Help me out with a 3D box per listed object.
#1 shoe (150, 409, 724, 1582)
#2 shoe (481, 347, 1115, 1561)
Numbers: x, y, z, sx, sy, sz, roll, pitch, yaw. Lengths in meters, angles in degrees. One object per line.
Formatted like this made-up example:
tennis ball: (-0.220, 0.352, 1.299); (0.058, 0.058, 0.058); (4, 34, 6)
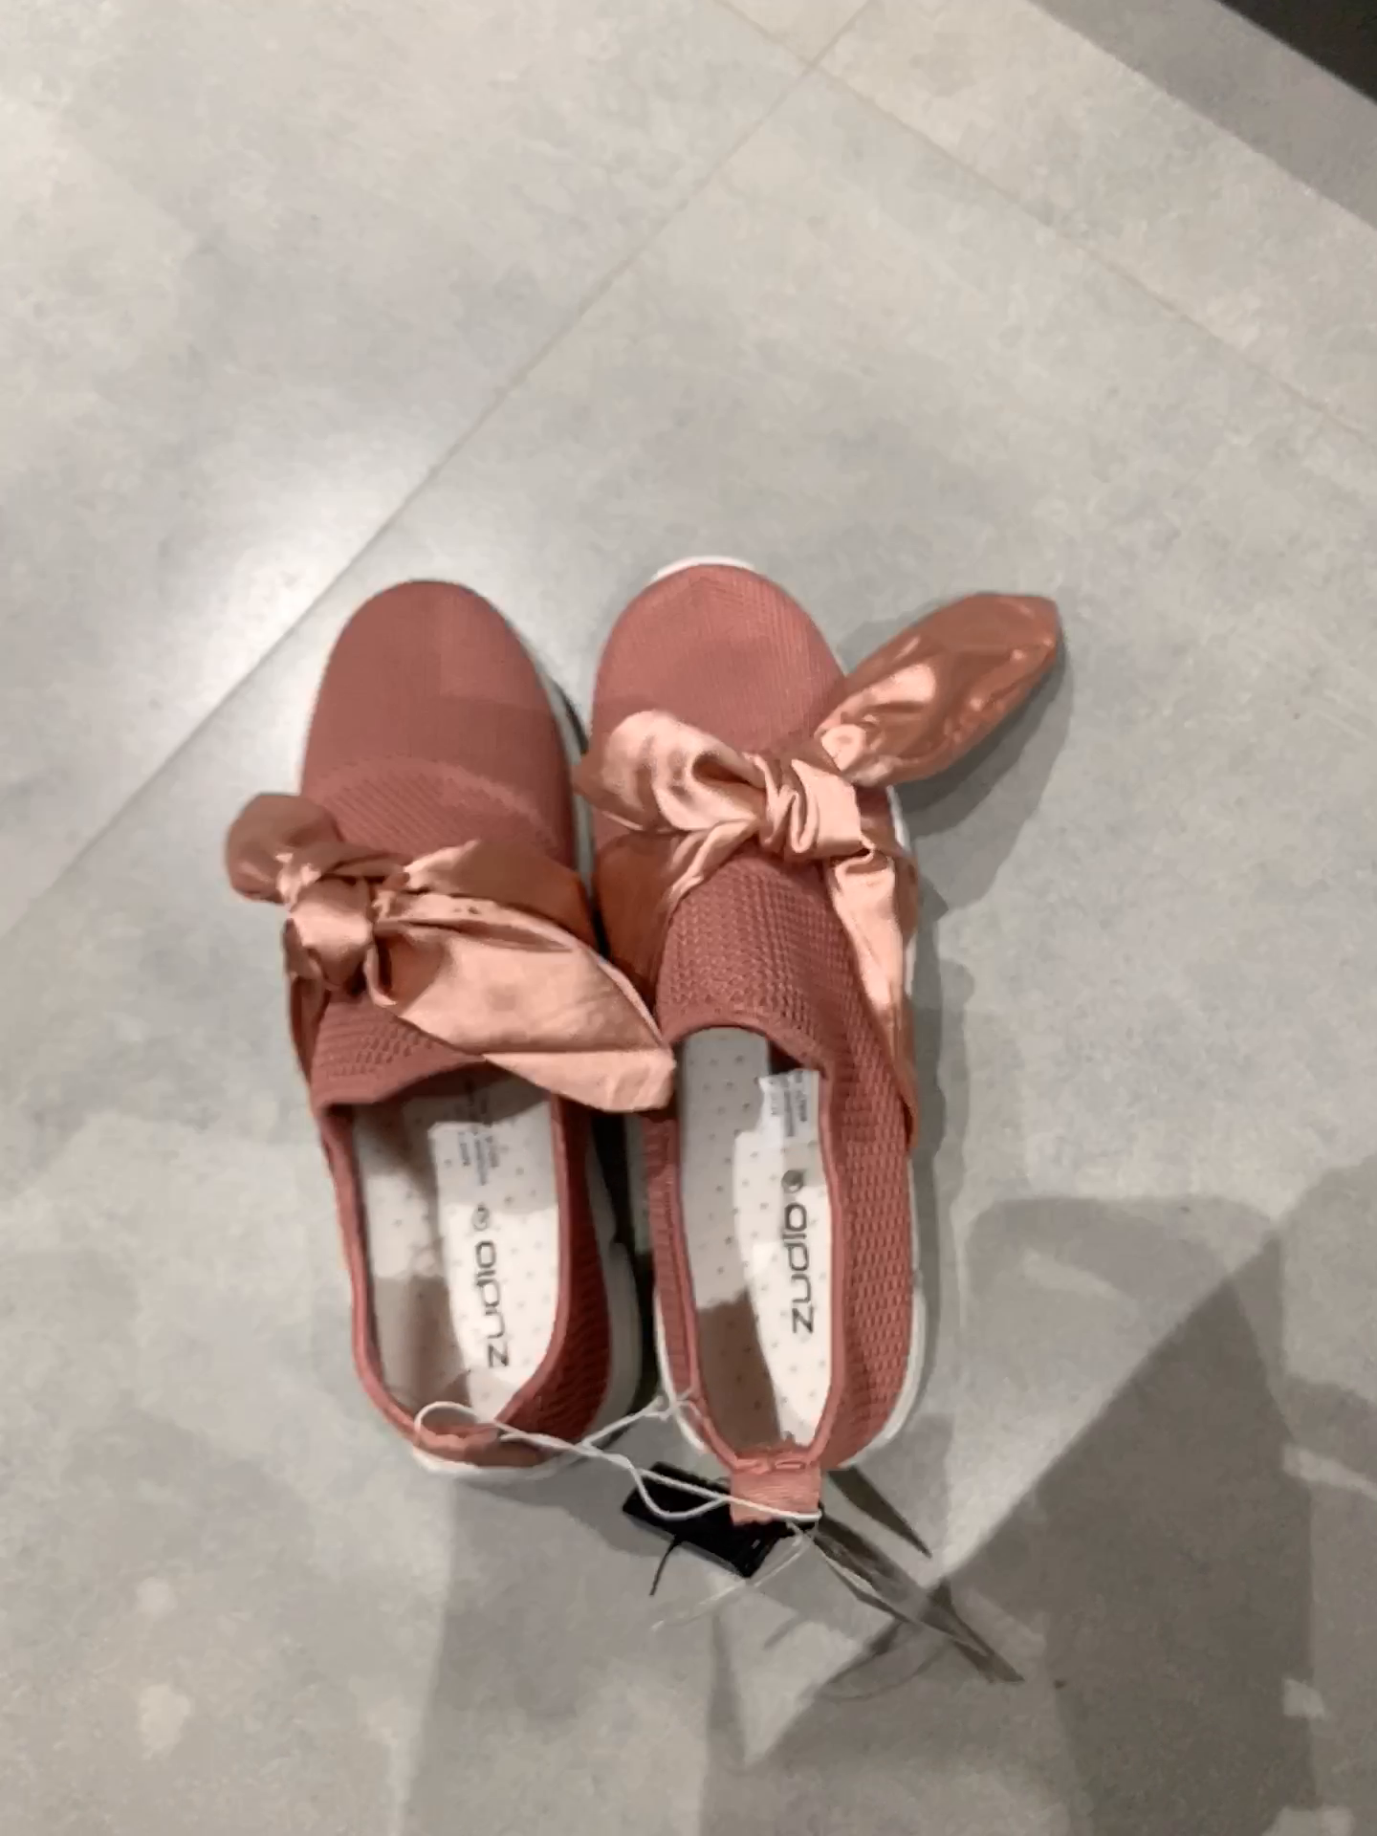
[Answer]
shoe: (-0.064, 0.018, 0.392); (0.110, 0.100, 0.270); (-8, 80, 3)
shoe: (0.023, 0.008, 0.379); (0.110, 0.100, 0.270); (-8, 80, 3)
